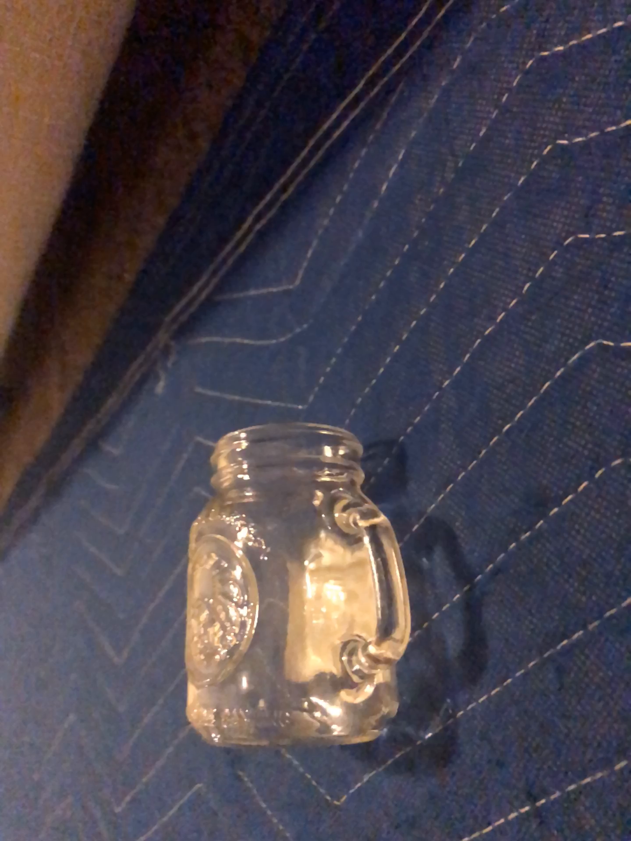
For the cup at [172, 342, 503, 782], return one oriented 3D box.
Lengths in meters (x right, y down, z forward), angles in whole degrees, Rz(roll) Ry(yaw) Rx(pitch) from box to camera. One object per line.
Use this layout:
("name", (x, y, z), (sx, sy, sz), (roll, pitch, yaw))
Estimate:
("cup", (-0.003, 0.042, 0.202), (0.089, 0.043, 0.095), (-9, 80, 61))
